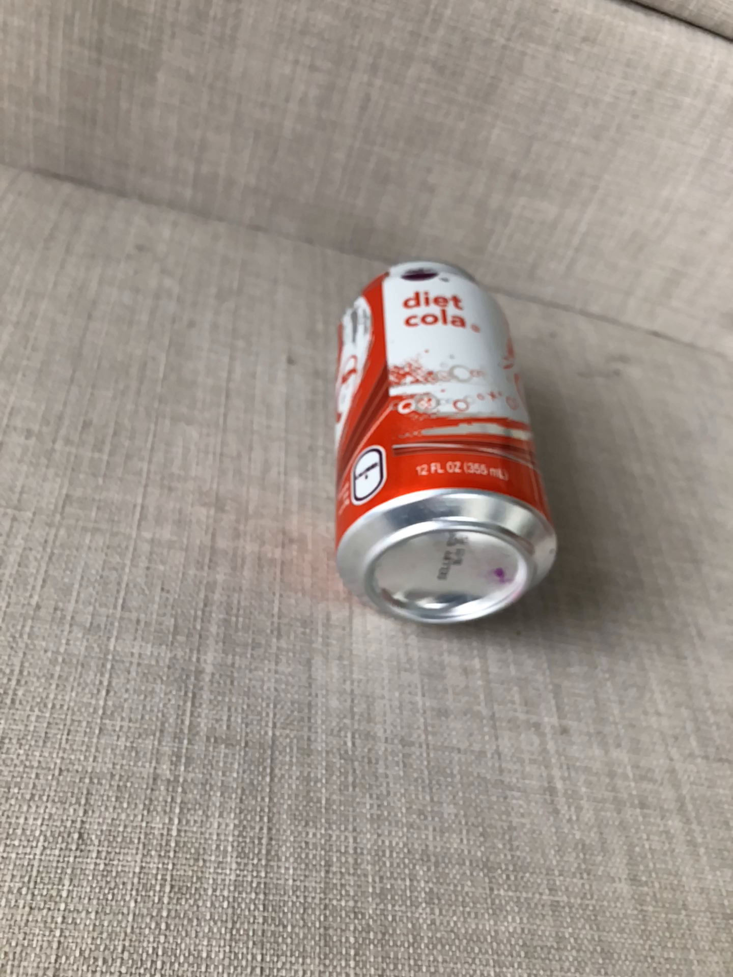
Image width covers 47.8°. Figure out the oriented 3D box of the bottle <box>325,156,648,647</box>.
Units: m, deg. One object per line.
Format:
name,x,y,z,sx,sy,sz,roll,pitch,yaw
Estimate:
bottle,0.029,-0.033,0.277,0.070,0.062,0.150,11,51,-16
